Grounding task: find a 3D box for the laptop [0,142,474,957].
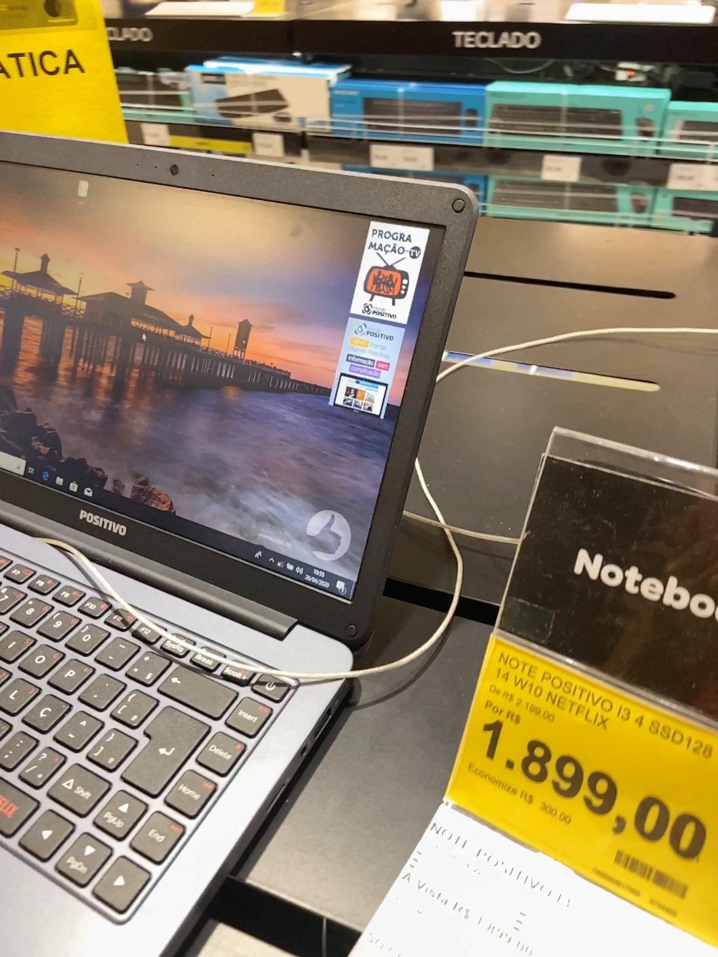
[{"bbox_3d":[-0.174,-0.001,0.319,0.332,0.172,0.343,17,41,24],"label":"laptop"}]
